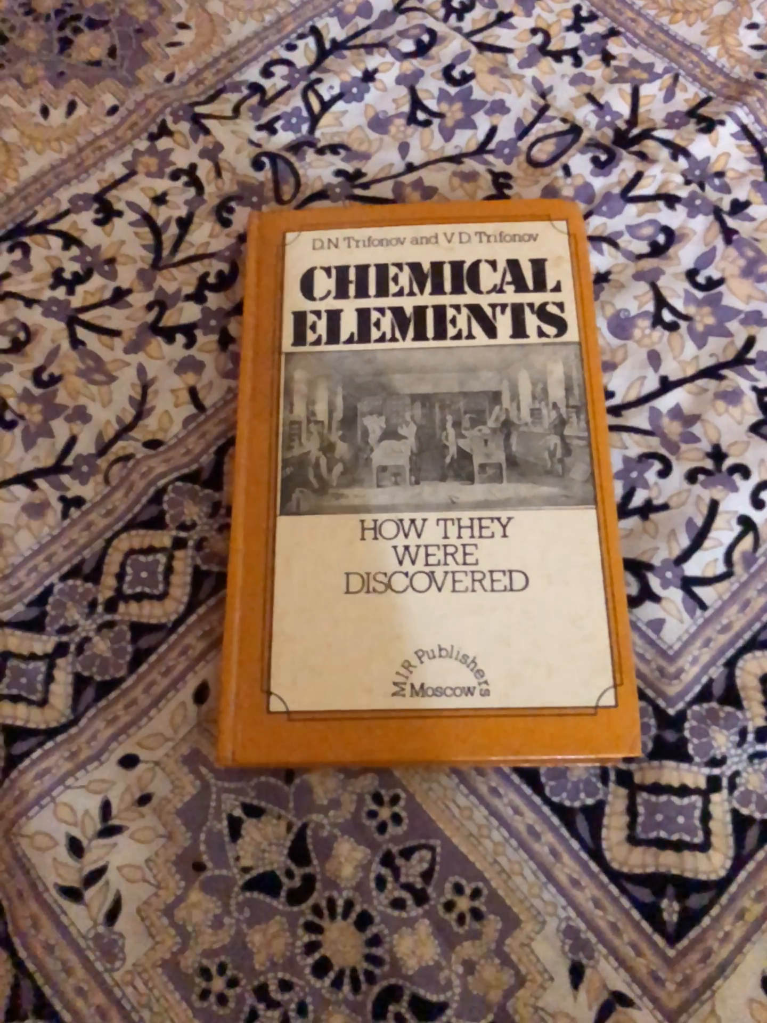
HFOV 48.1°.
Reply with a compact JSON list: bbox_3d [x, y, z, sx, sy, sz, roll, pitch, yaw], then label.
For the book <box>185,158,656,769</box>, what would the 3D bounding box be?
[{"bbox_3d":[0.010,-0.025,0.307,0.140,0.030,0.220,-2,70,2],"label":"book"}]
